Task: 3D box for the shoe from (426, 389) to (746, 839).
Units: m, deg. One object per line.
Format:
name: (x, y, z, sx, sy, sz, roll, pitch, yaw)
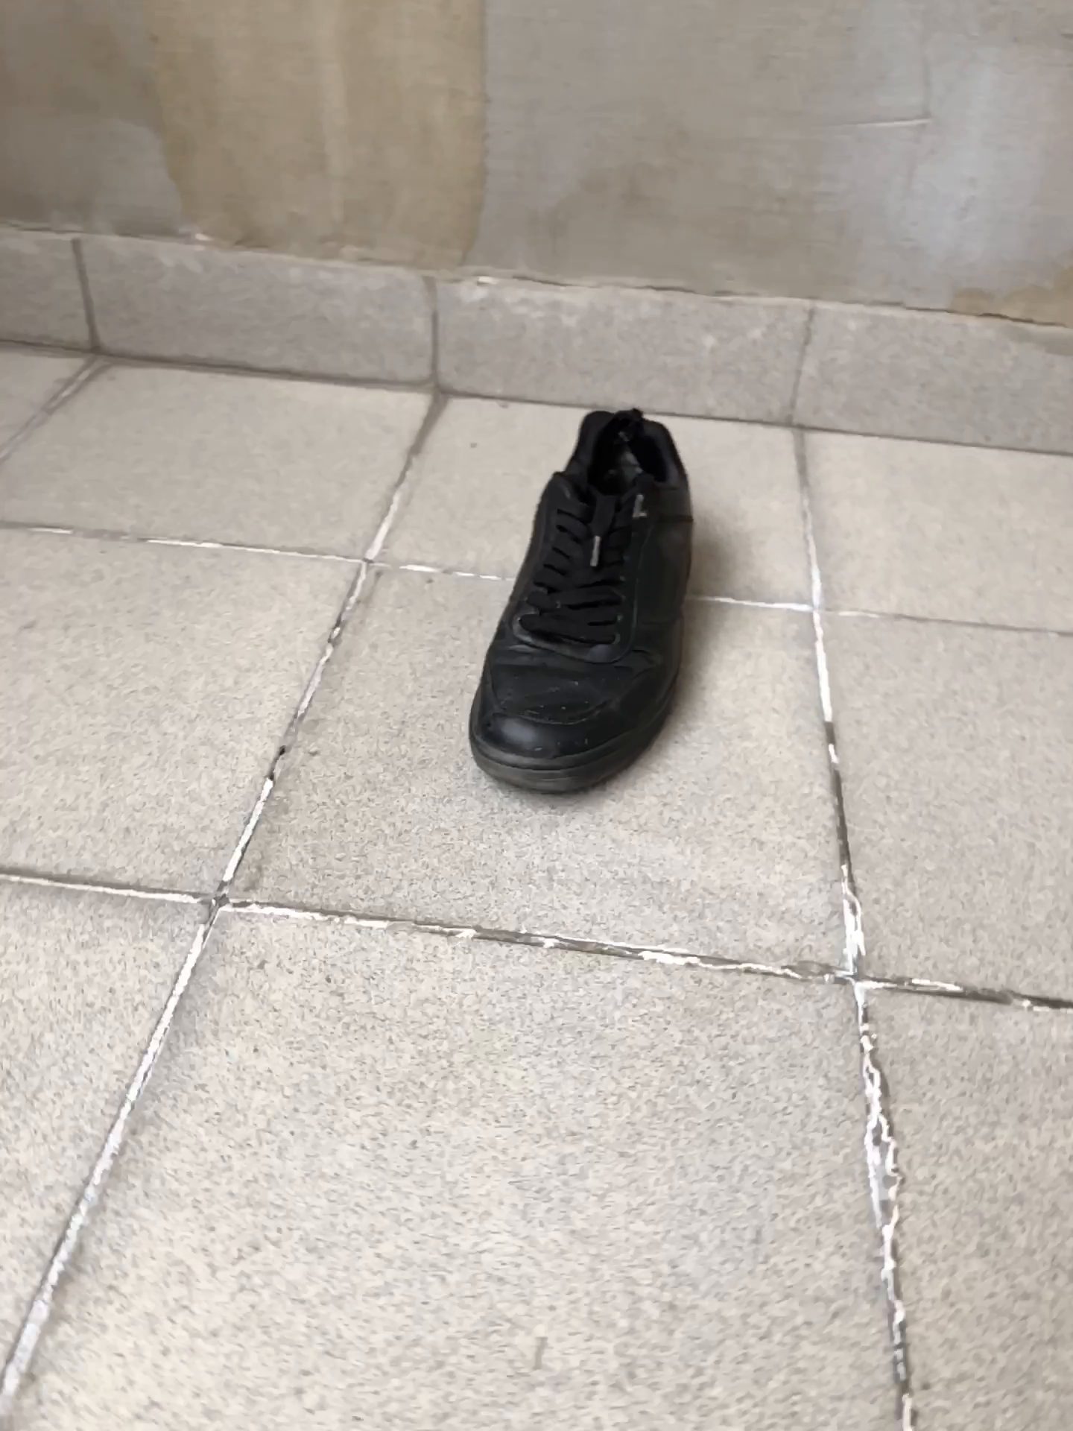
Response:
shoe: (0.038, -0.076, 0.690, 0.110, 0.099, 0.292, 13, 41, 10)
